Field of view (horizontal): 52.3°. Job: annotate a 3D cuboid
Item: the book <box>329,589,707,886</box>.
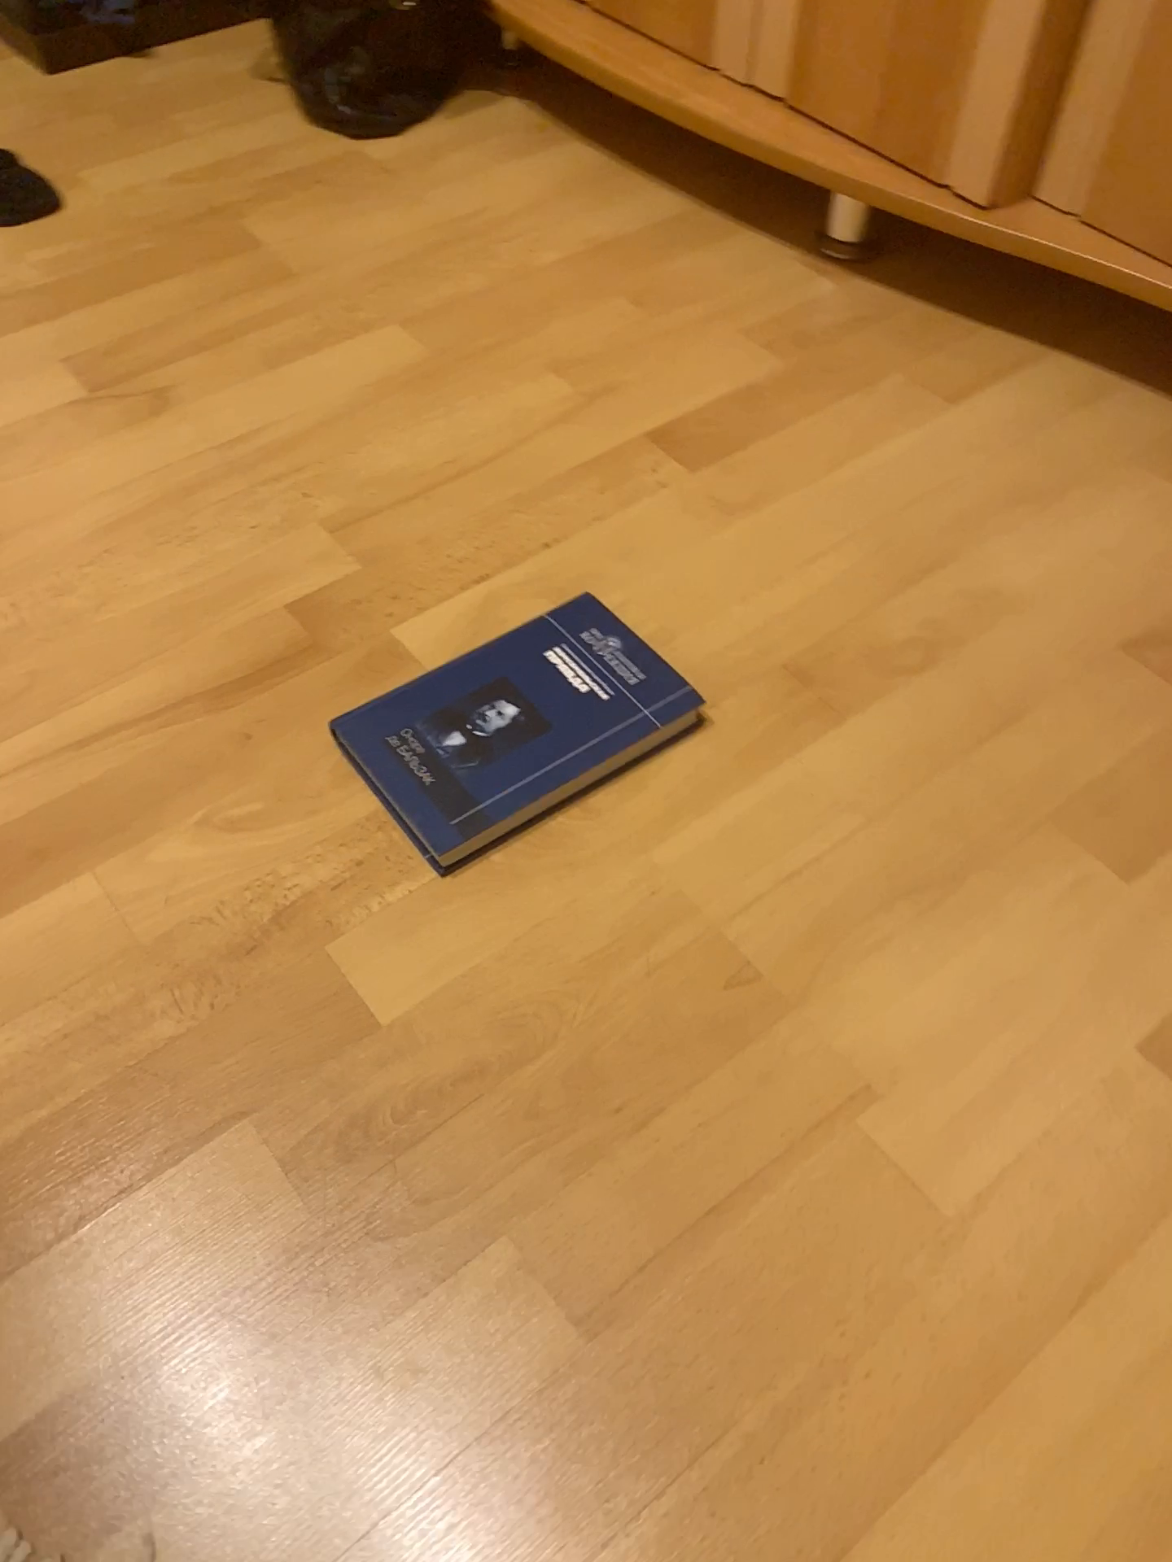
[{"bbox_3d":[-0.042,-0.035,0.763,0.201,0.030,0.128,-30,57,-21],"label":"book"}]
